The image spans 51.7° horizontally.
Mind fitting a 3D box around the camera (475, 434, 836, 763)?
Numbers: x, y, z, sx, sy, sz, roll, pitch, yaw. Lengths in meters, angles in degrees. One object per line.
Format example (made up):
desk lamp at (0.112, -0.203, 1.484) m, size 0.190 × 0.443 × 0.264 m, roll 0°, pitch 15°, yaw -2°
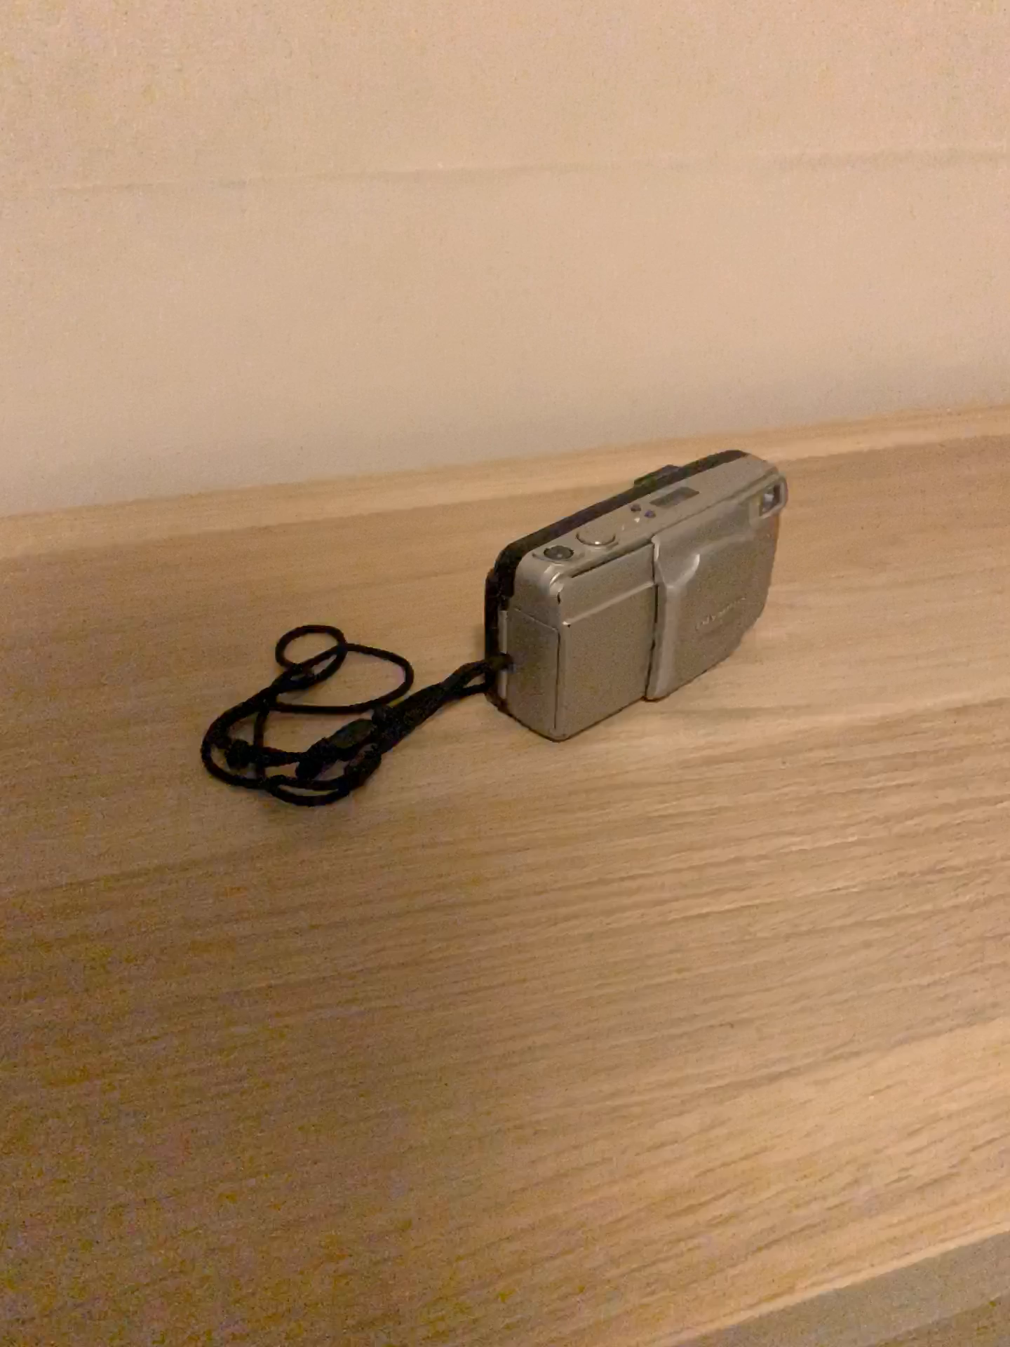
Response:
camera at (0.052, -0.031, 0.354) m, size 0.126 × 0.059 × 0.046 m, roll -27°, pitch 43°, yaw -35°
